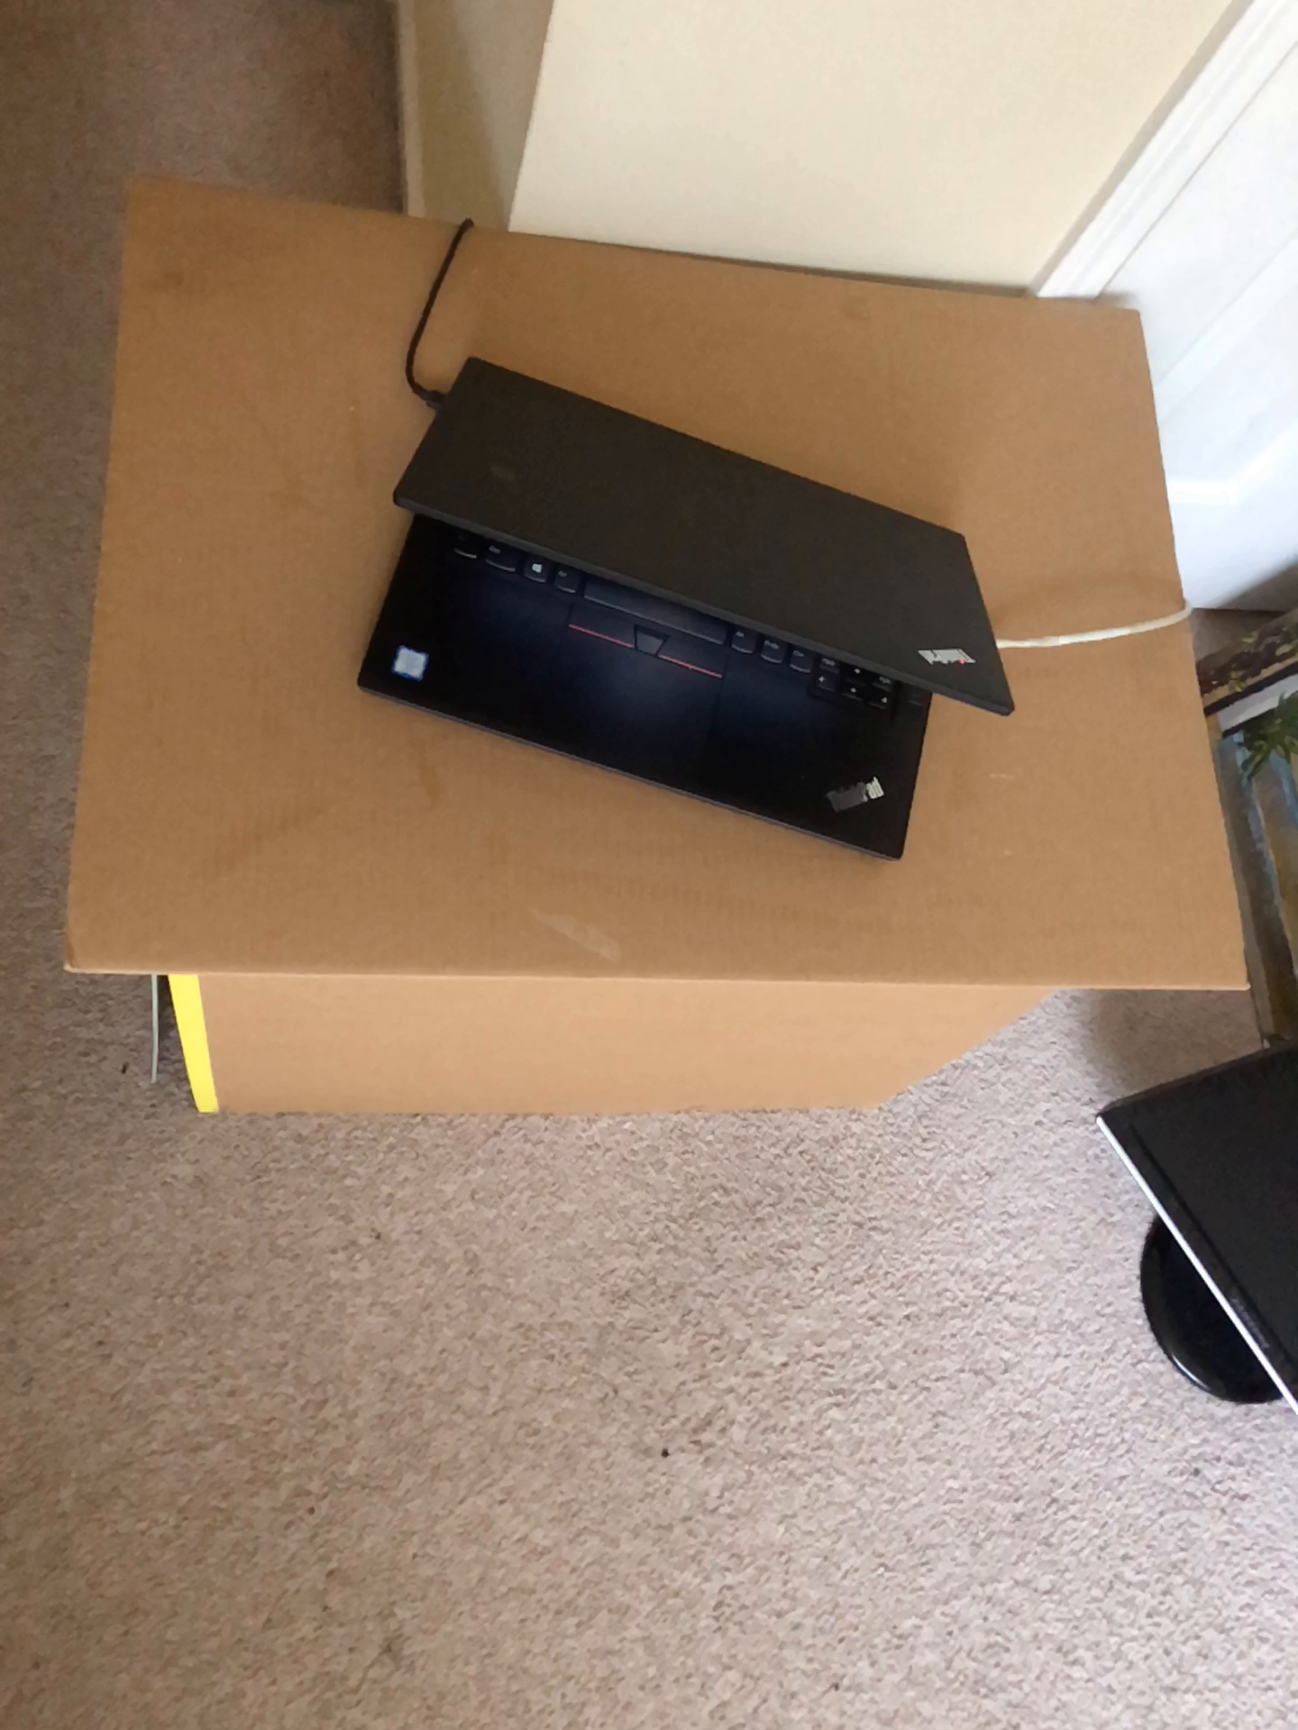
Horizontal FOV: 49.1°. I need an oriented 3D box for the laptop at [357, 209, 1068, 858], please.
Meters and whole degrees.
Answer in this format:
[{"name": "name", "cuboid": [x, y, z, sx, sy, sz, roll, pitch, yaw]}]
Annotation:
[{"name": "laptop", "cuboid": [0.037, -0.177, 0.803, 0.334, 0.140, 0.232, 17, 68, -9]}]
